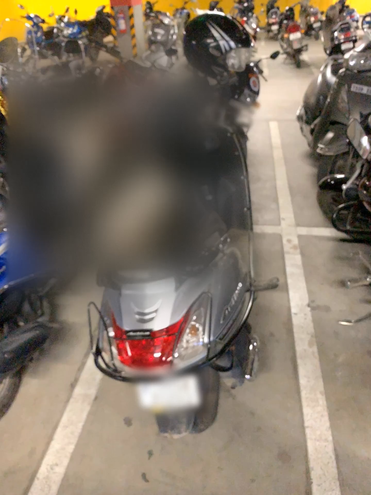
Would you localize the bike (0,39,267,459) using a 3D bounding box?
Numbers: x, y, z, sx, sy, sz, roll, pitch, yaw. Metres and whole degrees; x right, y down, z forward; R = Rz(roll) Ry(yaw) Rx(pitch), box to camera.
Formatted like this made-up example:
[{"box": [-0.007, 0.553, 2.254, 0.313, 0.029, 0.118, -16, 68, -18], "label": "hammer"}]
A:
[{"box": [-0.054, -0.165, 1.745, 0.630, 1.090, 1.541, 1, 37, 6], "label": "bike"}]
